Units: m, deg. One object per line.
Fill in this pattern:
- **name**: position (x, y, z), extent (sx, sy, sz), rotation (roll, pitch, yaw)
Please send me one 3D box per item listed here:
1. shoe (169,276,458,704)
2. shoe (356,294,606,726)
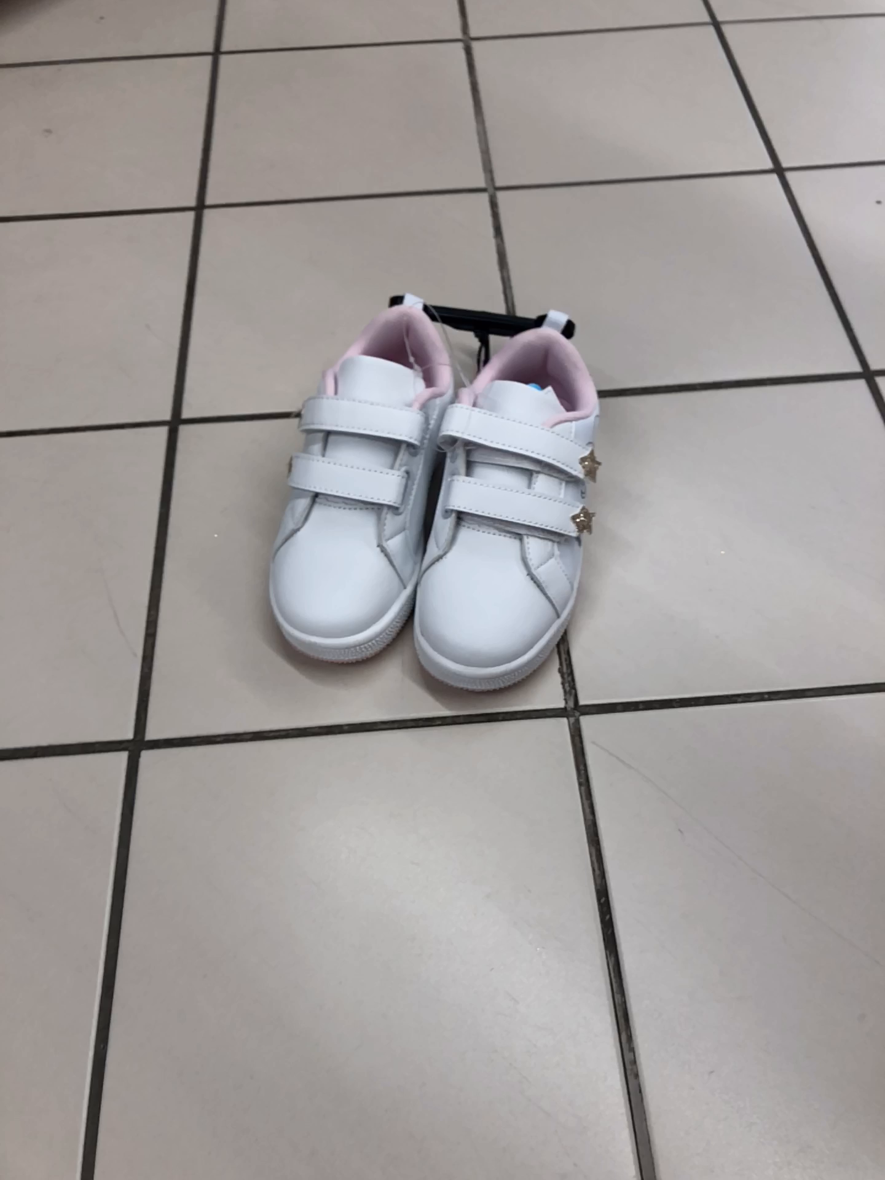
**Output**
- **shoe**: position (-0.051, -0.055, 0.473), extent (0.080, 0.070, 0.201), rotation (9, 56, 7)
- **shoe**: position (0.025, -0.046, 0.472), extent (0.080, 0.070, 0.201), rotation (9, 56, 7)
